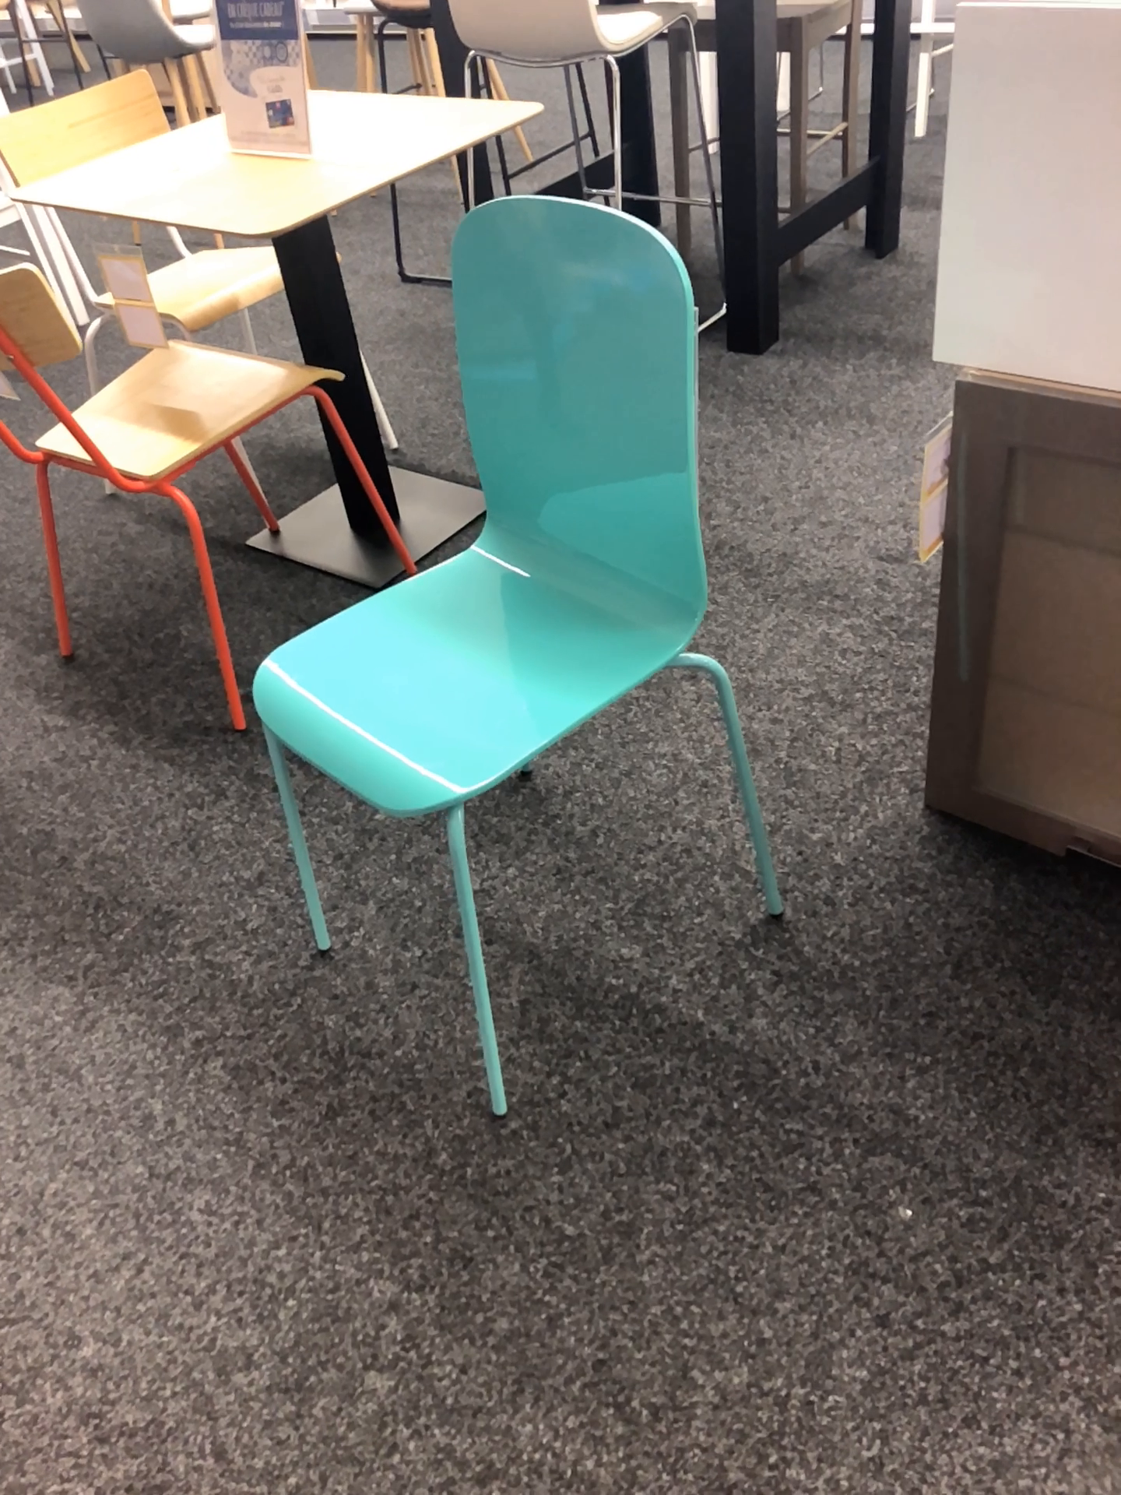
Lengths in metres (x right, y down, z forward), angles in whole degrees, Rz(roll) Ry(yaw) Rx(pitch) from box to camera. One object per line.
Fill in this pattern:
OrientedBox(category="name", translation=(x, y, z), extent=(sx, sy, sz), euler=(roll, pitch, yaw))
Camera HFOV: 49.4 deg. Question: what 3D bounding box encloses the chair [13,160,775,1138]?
OrientedBox(category="chair", translation=(-0.115, -0.113, 1.390), extent=(0.502, 0.865, 0.491), euler=(-35, 45, -28))
